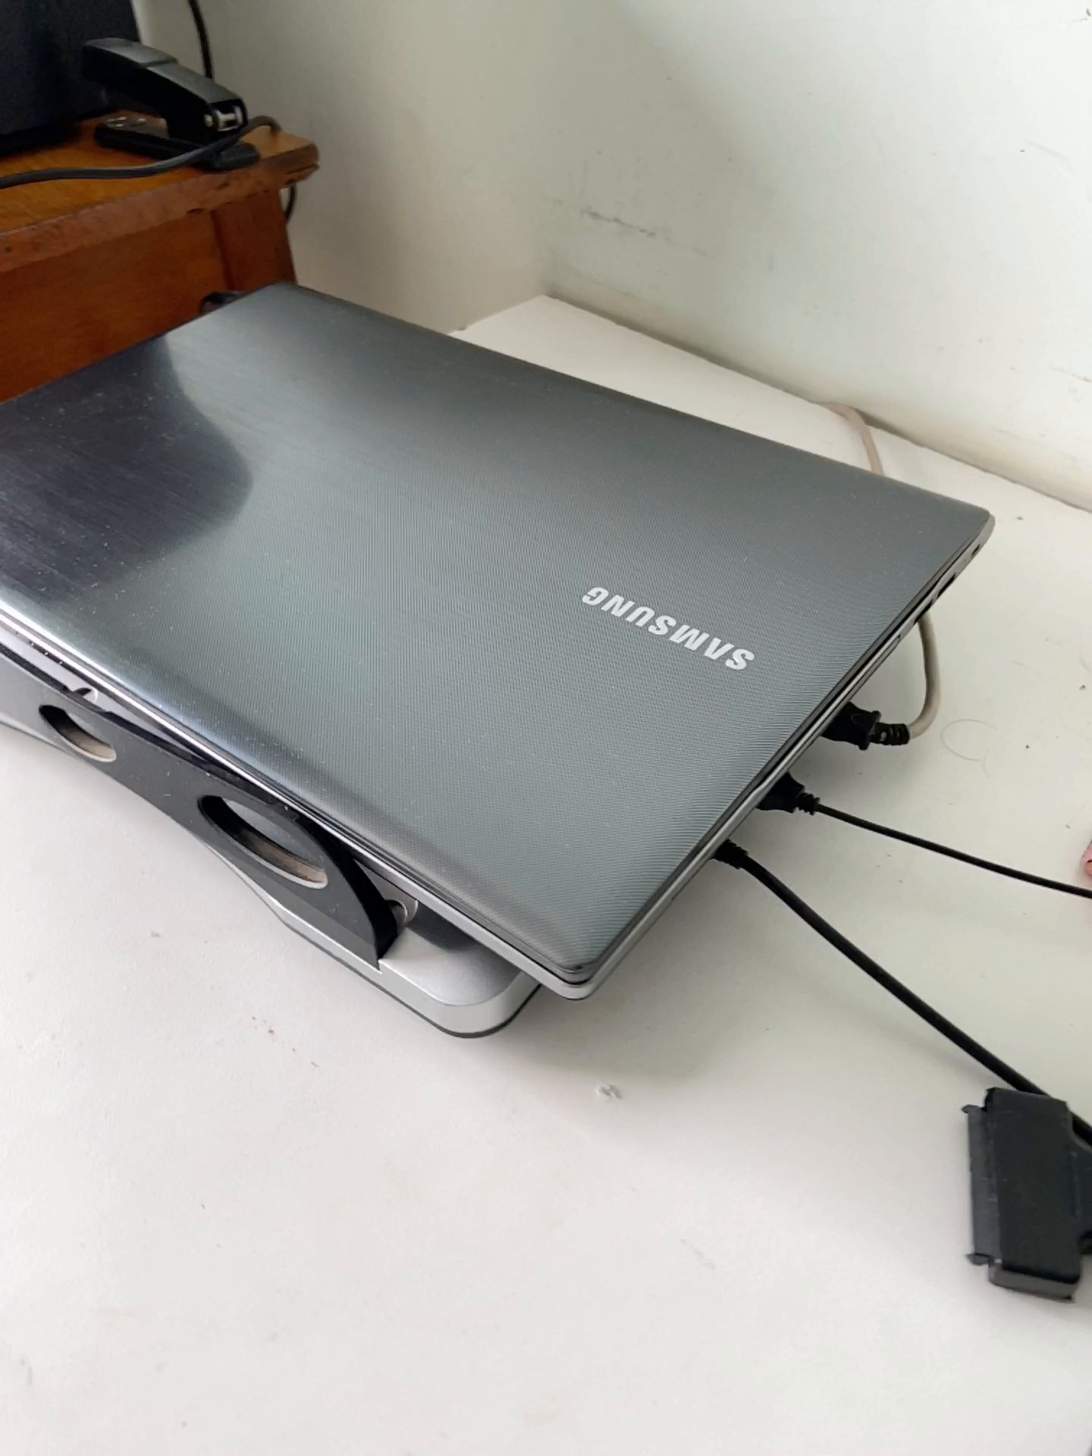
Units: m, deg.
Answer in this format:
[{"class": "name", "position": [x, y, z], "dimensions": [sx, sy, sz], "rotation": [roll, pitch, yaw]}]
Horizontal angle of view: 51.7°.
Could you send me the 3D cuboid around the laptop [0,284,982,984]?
[{"class": "laptop", "position": [-0.066, -0.083, 0.421], "dimensions": [0.374, 0.005, 0.237], "rotation": [27, 51, 29]}]
